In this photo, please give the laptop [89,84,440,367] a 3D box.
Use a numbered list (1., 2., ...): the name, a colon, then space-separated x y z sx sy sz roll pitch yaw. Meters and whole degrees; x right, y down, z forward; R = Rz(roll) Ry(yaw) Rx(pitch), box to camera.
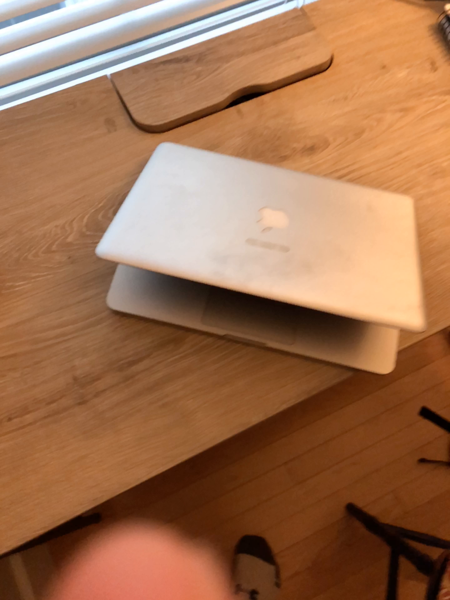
1. laptop: 0.050 -0.084 0.545 0.318 0.090 0.229 13 70 4
